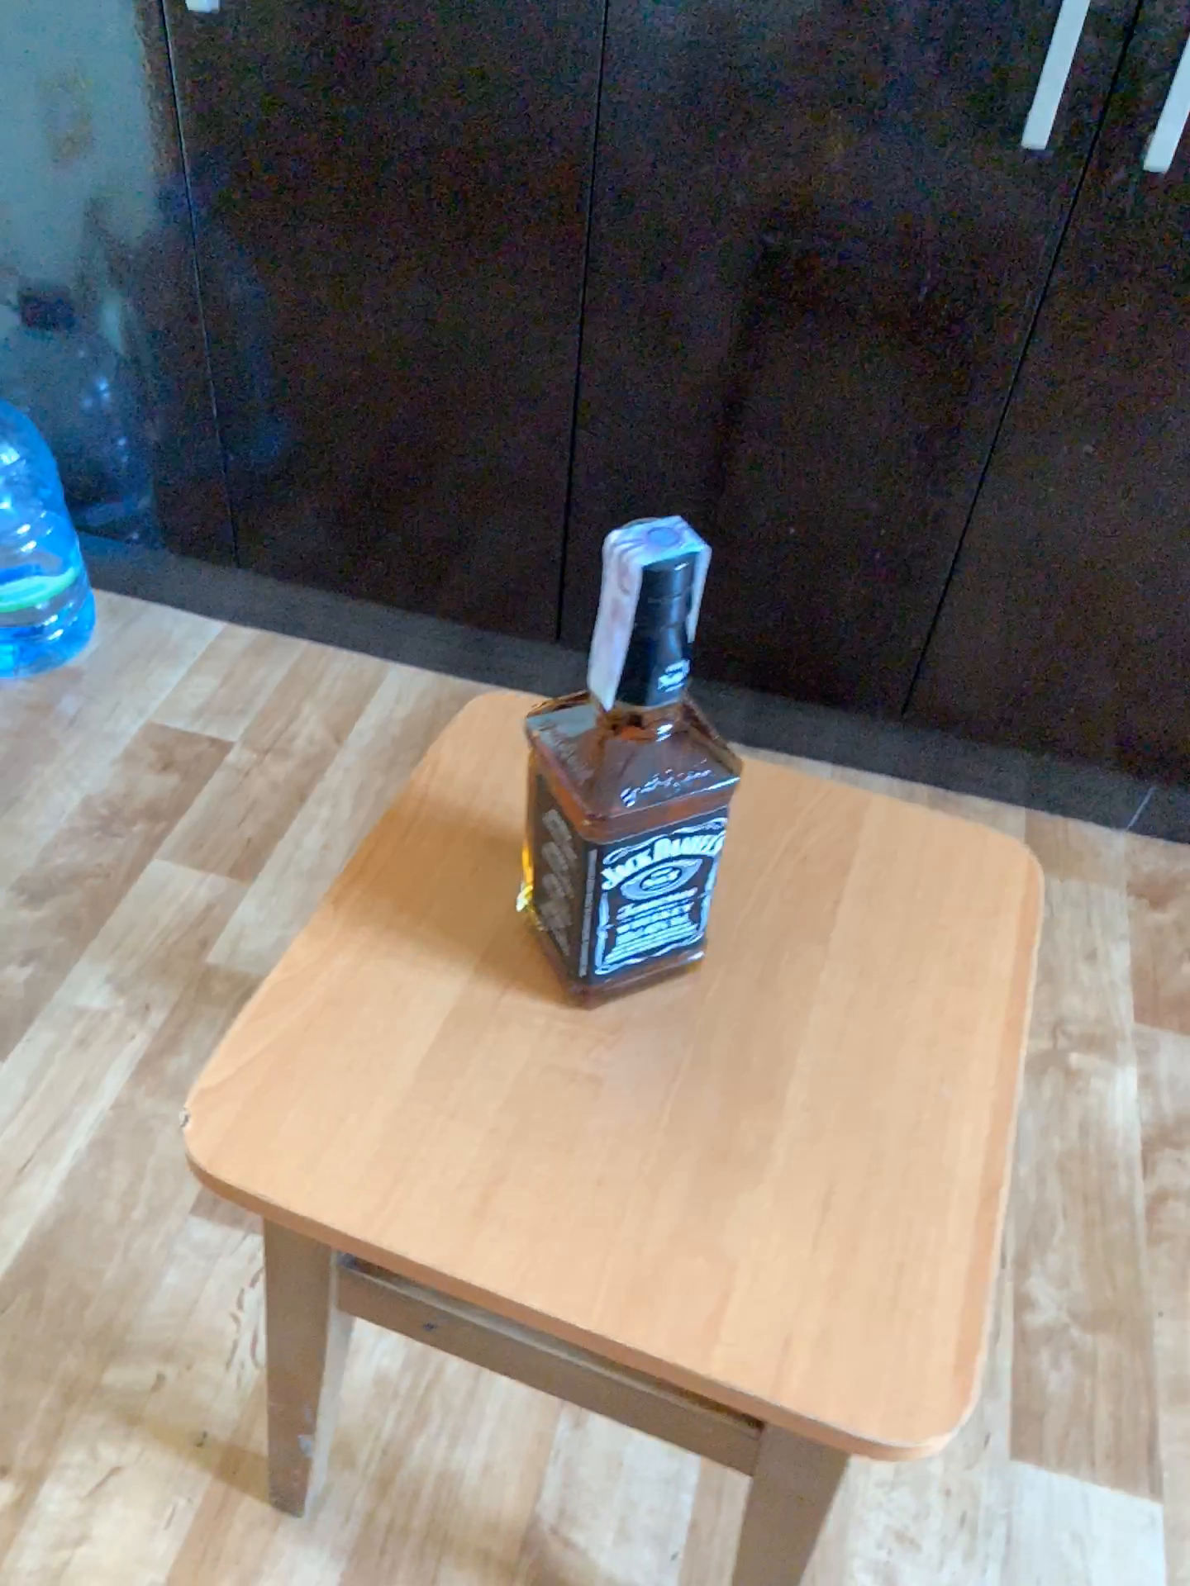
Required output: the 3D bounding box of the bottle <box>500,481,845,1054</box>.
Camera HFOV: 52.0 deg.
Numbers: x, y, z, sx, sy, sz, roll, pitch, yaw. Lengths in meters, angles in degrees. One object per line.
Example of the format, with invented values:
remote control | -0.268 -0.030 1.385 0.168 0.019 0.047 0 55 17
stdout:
bottle | 0.019 -0.002 0.477 0.080 0.209 0.080 3 44 -3
